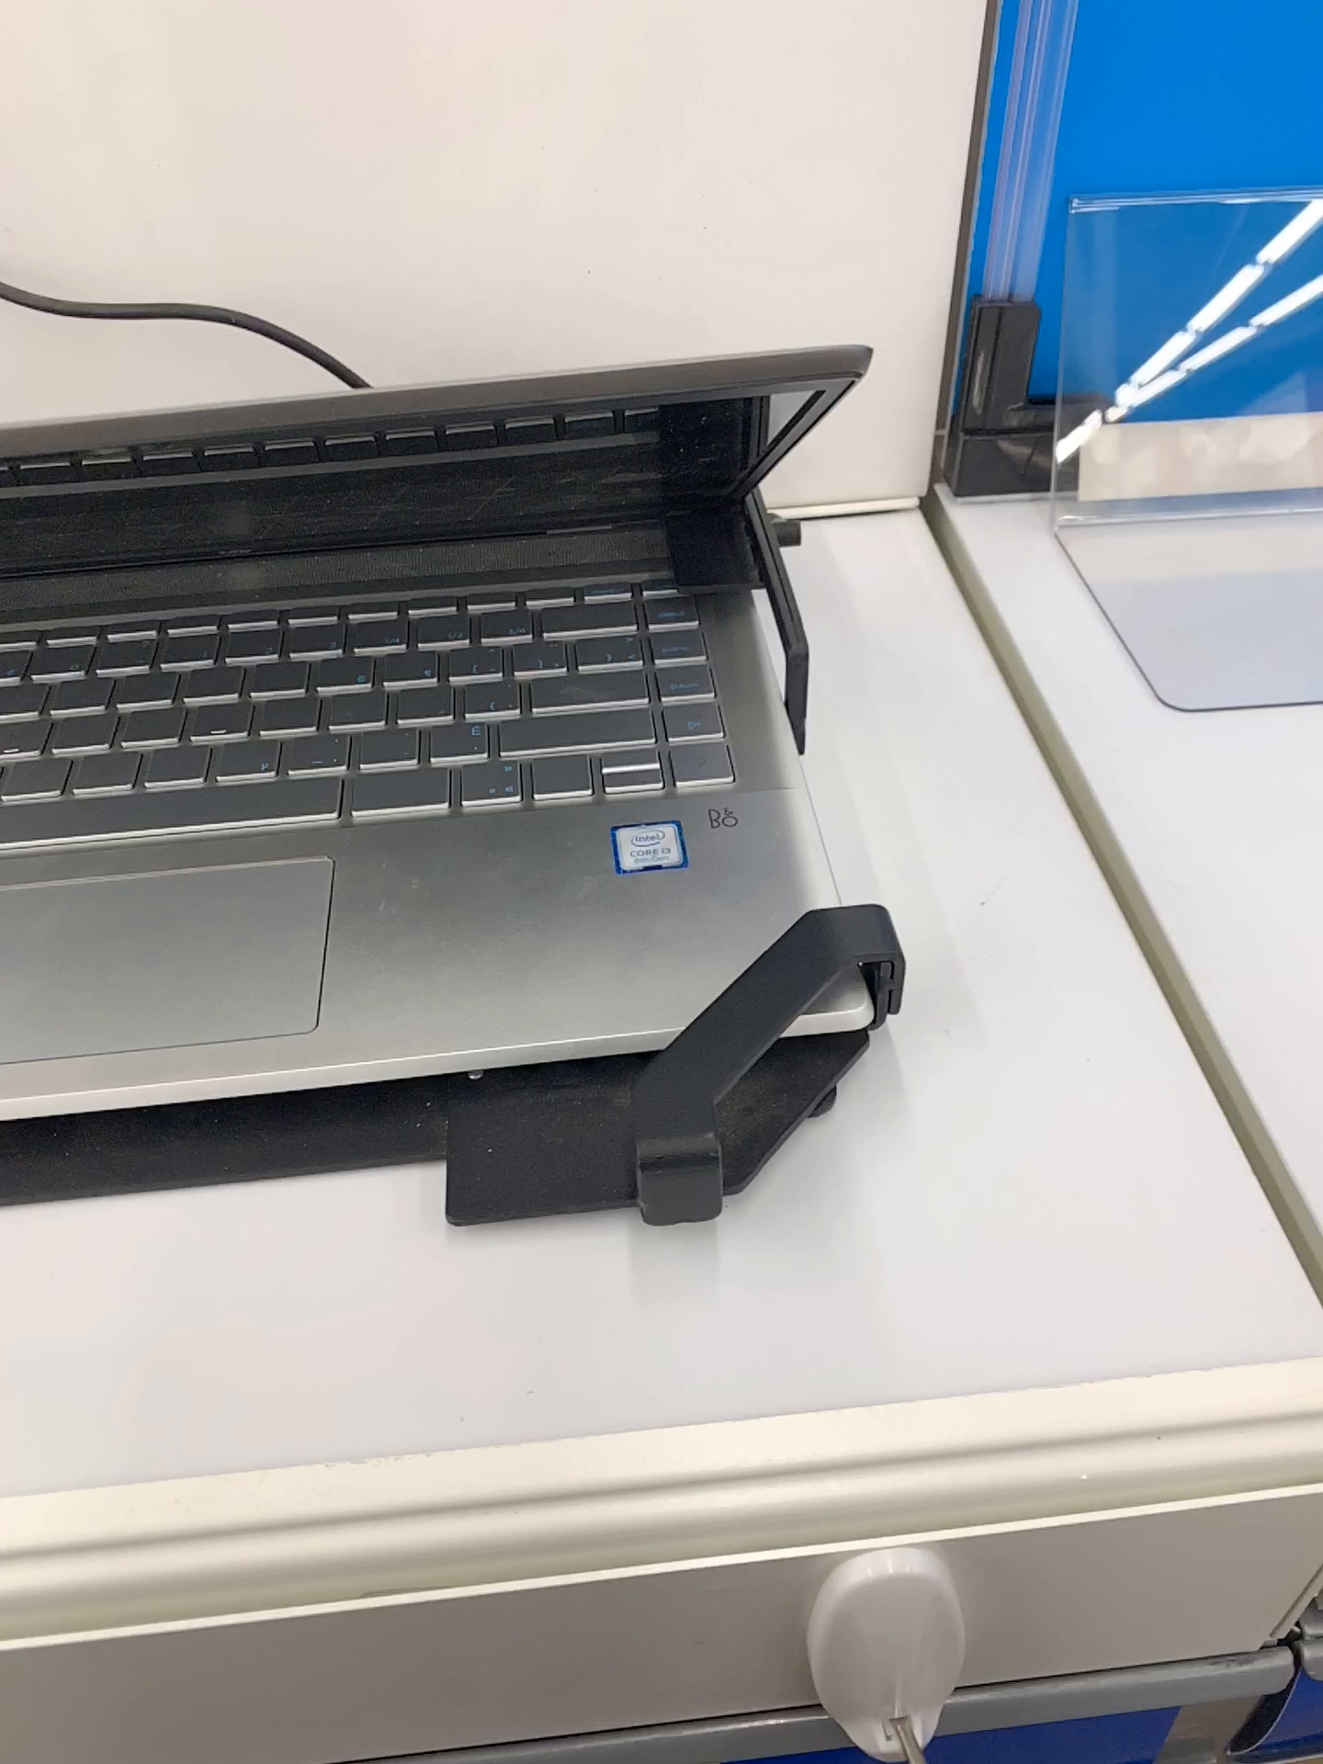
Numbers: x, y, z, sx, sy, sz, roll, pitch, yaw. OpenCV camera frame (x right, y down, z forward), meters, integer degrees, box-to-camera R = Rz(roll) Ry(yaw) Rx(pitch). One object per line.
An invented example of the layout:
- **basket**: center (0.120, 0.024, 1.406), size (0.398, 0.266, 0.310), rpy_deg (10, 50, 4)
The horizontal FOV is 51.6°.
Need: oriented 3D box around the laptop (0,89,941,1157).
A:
- **laptop**: center (-0.113, -0.068, 0.293), size (0.283, 0.111, 0.194), rpy_deg (-6, 44, -1)
